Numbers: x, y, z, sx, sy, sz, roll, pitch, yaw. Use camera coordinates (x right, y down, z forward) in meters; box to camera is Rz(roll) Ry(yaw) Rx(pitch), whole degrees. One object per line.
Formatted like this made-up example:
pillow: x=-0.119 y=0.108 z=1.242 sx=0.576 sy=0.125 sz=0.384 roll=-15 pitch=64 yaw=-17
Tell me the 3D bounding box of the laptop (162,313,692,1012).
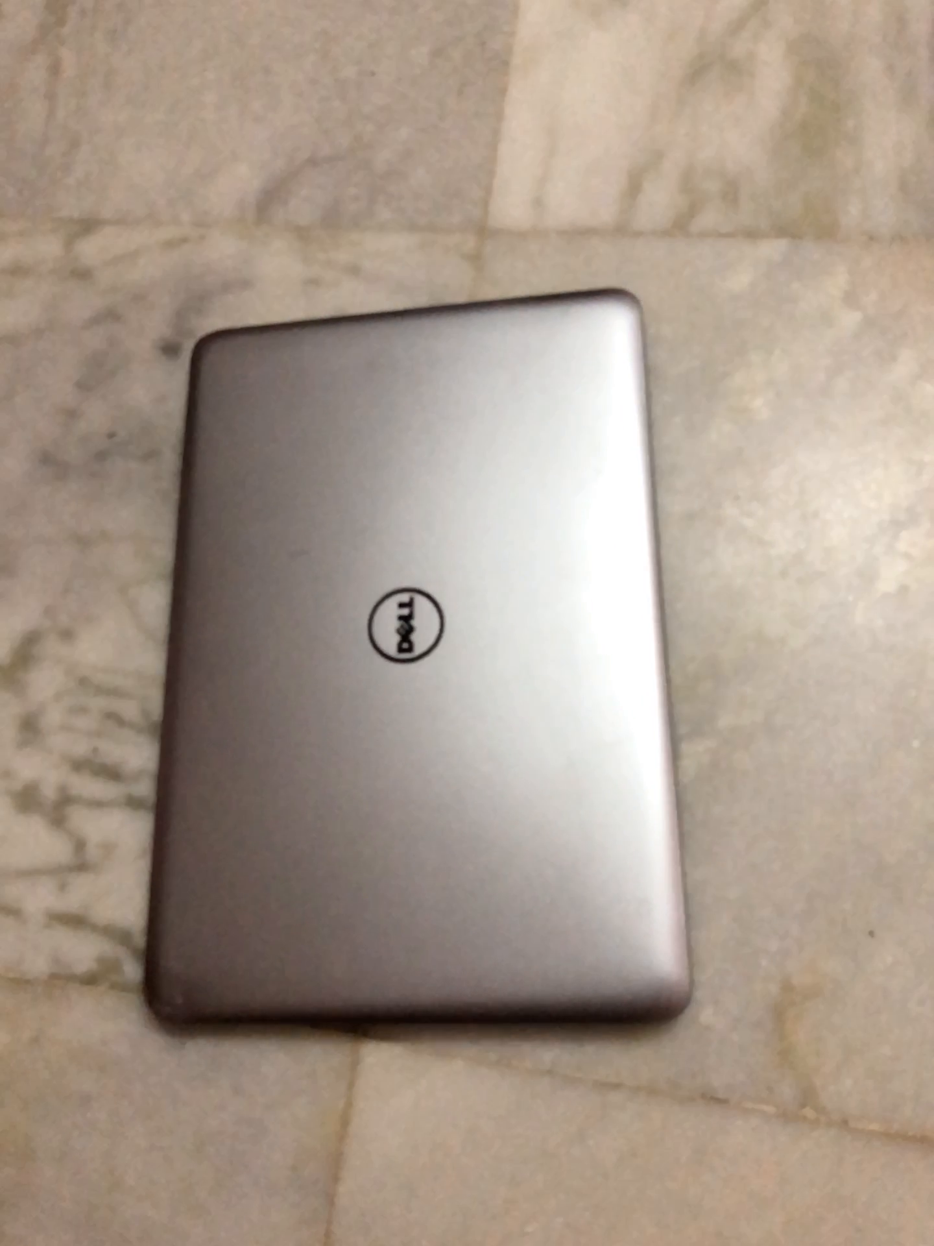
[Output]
laptop: x=-0.026 y=0.008 z=0.524 sx=0.244 sy=0.002 sz=0.346 roll=-4 pitch=72 yaw=8
